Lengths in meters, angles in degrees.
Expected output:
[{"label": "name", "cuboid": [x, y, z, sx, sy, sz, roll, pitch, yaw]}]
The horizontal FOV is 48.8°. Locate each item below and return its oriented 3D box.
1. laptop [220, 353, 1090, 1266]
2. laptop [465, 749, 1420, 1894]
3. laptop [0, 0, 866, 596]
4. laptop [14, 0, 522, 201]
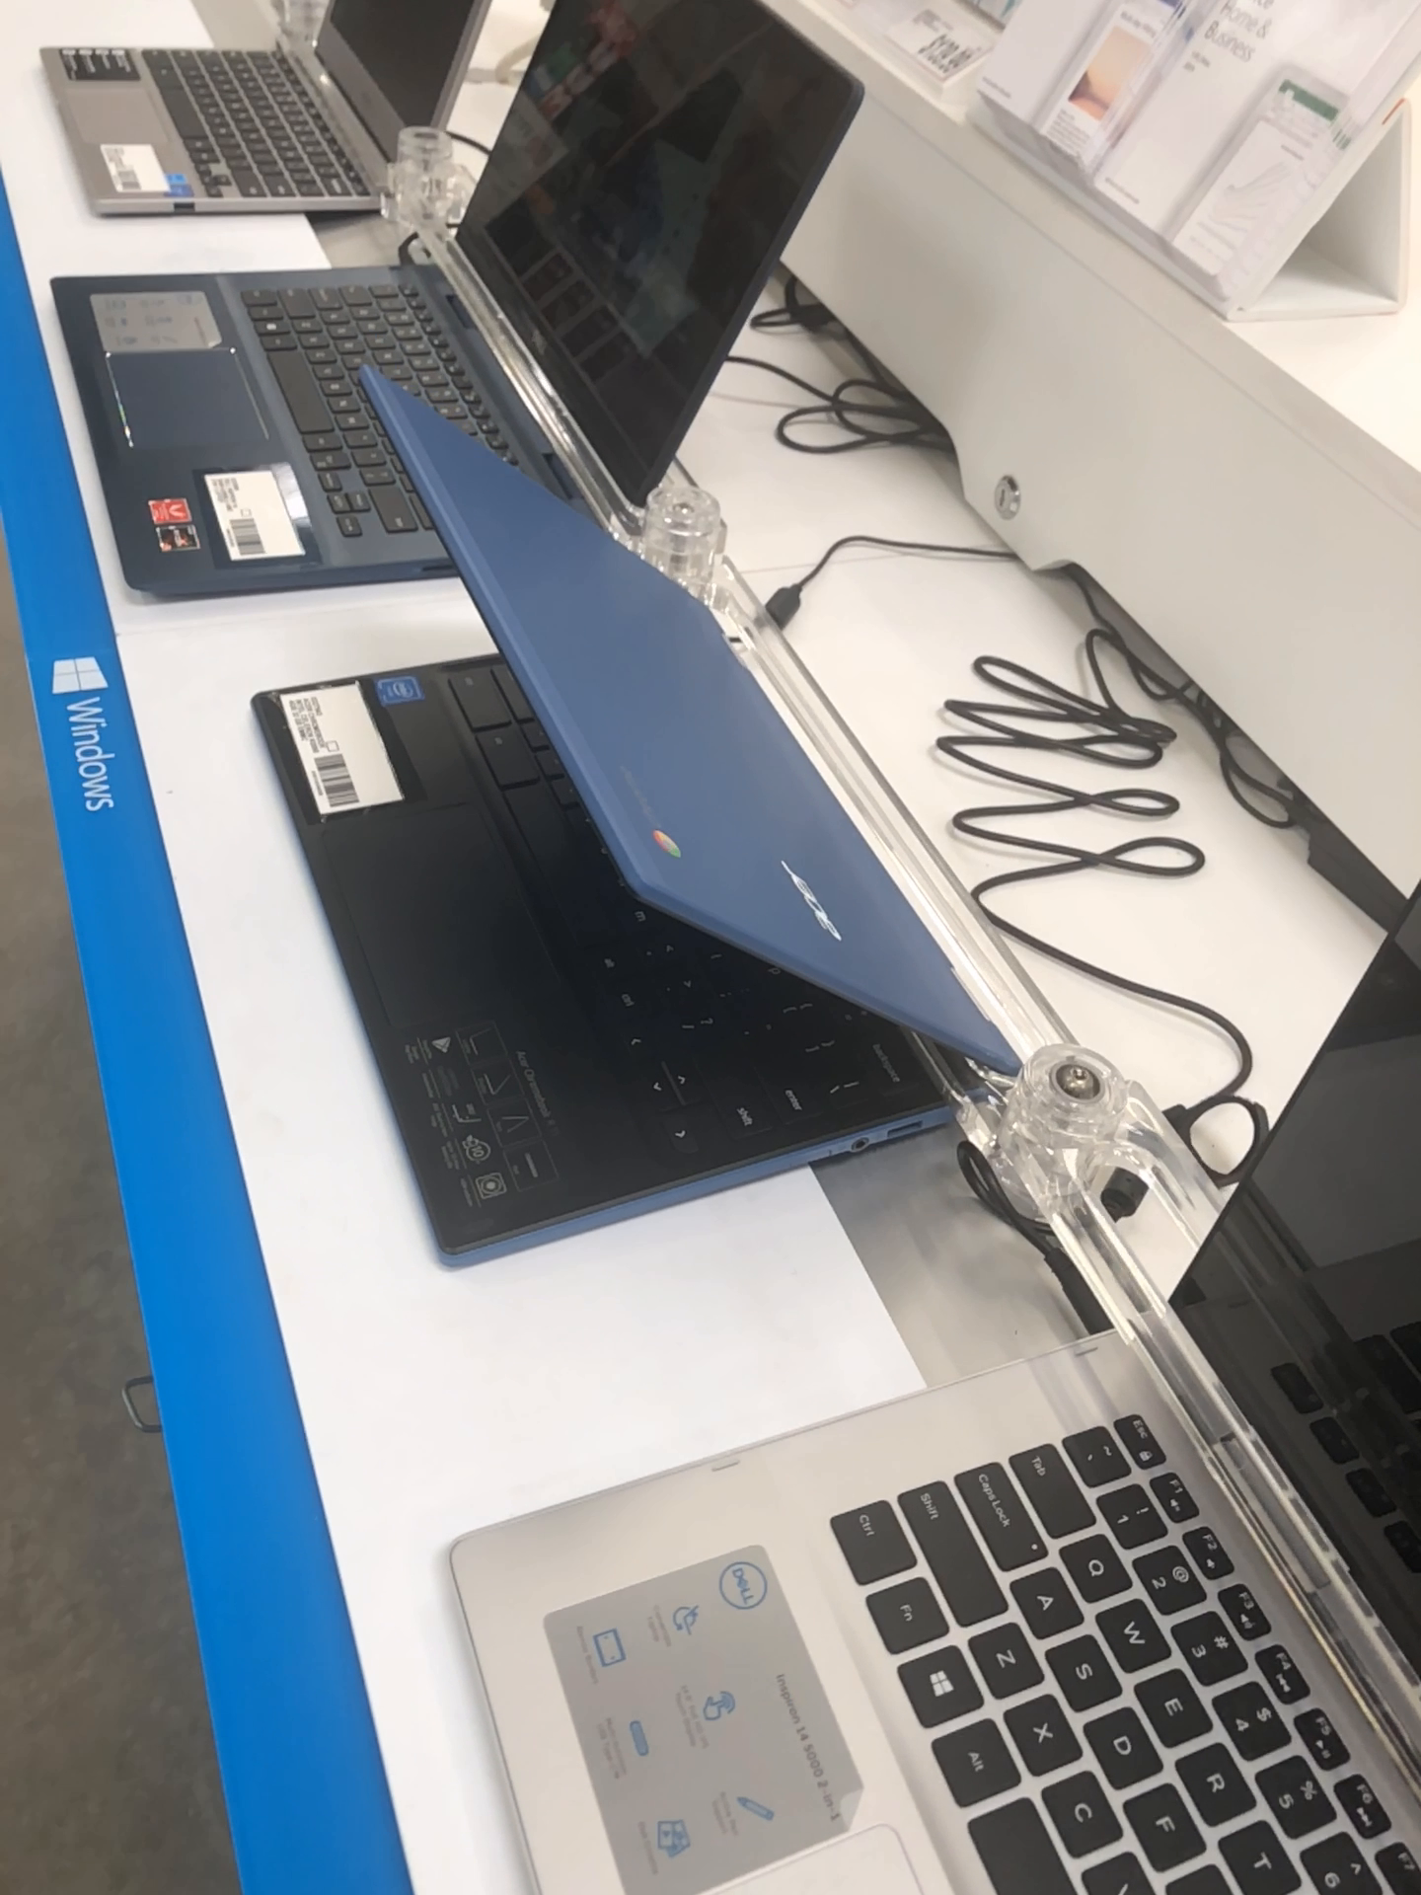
[{"label": "laptop", "cuboid": [-0.041, -0.068, 0.535, 0.186, 0.128, 0.281, -13, 49, -19]}, {"label": "laptop", "cuboid": [0.102, 0.158, 0.268, 0.221, 0.211, 0.297, -11, 48, -17]}, {"label": "laptop", "cuboid": [-0.151, -0.368, 0.770, 0.319, 0.196, 0.326, -12, 48, -20]}, {"label": "laptop", "cuboid": [-0.301, -0.651, 1.053, 0.258, 0.172, 0.306, -9, 47, -17]}]
